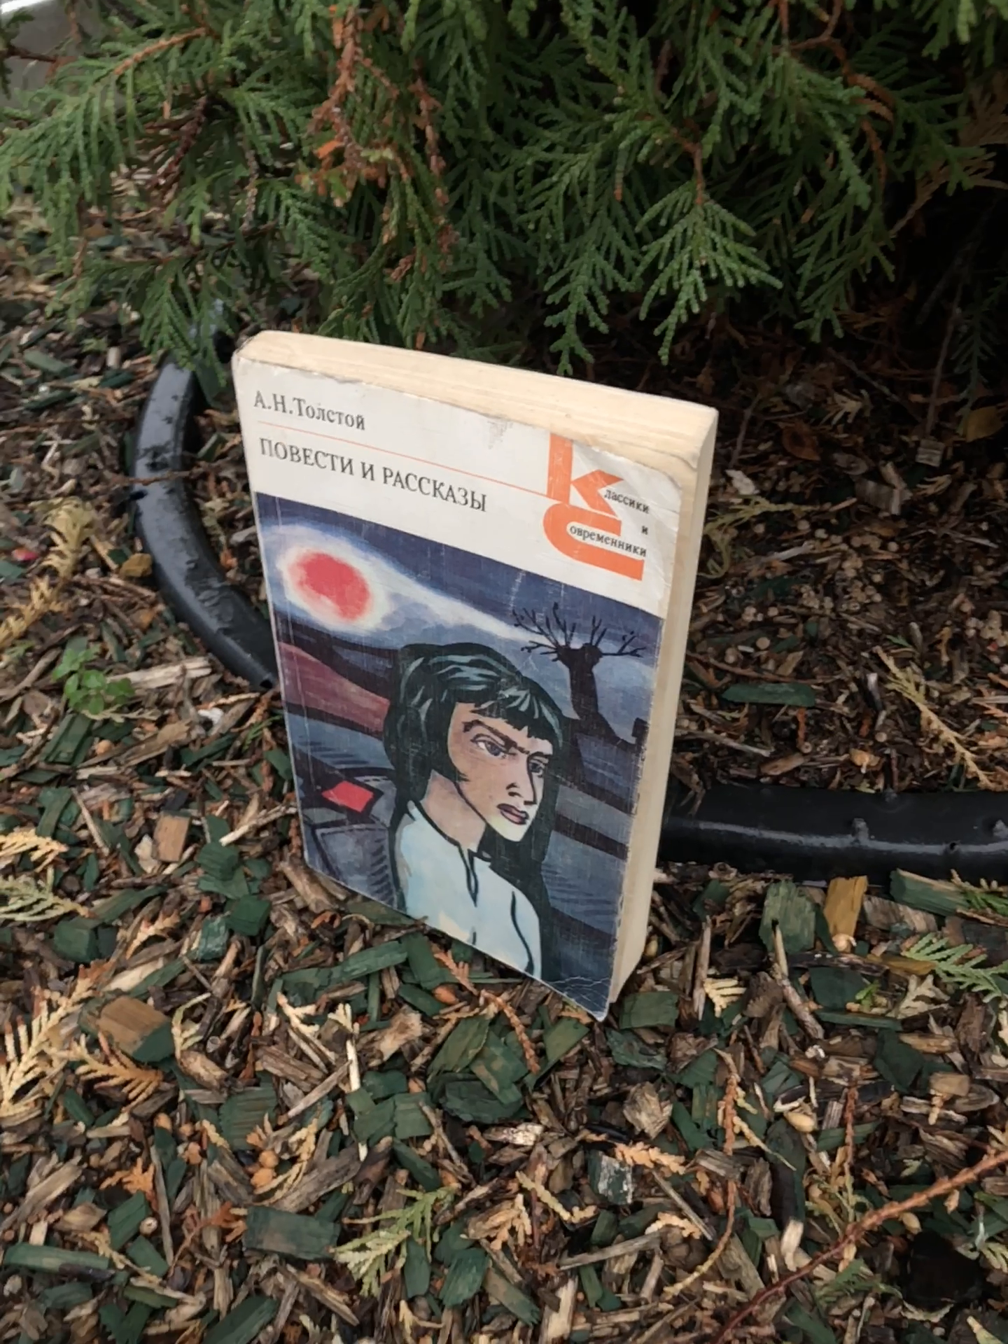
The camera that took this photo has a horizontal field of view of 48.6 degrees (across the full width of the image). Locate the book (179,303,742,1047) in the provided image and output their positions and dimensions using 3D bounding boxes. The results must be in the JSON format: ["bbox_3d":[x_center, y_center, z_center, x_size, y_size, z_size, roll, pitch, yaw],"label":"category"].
[{"bbox_3d":[-0.010,0.008,0.322,0.130,0.196,0.041,20,45,25],"label":"book"}]
